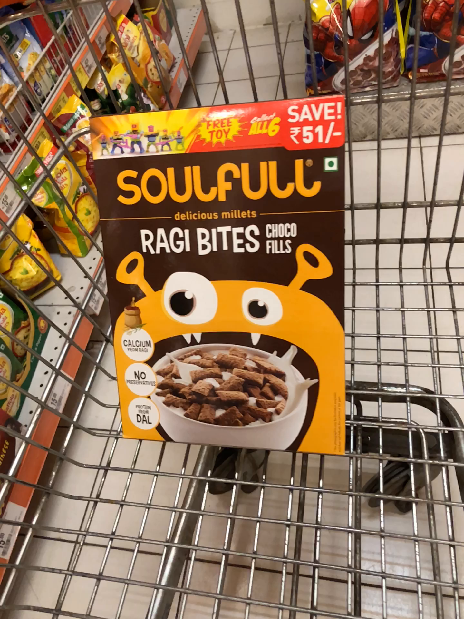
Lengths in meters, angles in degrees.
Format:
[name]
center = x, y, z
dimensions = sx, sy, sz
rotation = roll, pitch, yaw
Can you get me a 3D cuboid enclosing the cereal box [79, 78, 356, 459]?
[cereal box]
center = -0.002, -0.026, 0.403
dimensions = 0.190, 0.259, 0.070
rotation = 1, 14, 16
